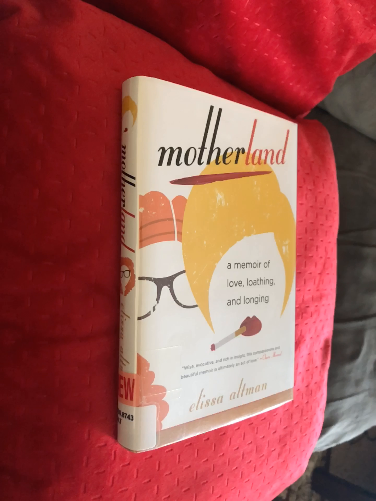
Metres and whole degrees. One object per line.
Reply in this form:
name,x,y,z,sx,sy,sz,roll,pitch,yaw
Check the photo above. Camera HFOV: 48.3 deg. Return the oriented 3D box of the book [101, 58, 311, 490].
book,0.019,0.012,0.265,0.141,0.040,0.210,0,92,-42
